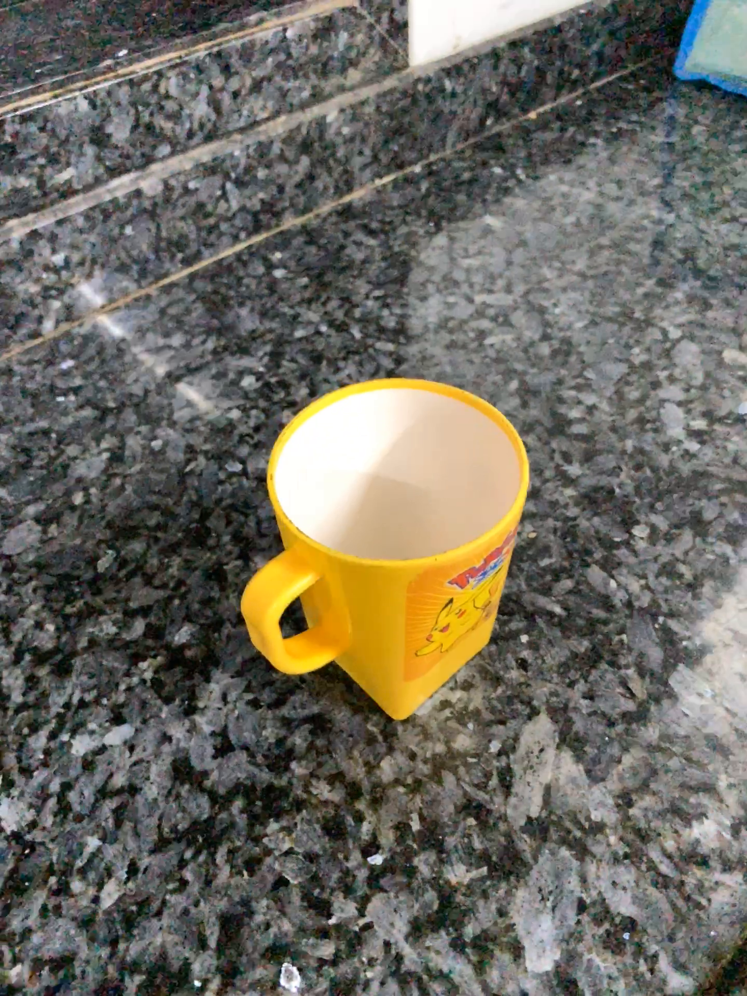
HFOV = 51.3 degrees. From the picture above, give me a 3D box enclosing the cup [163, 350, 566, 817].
[{"bbox_3d":[0.001,0.030,0.272,0.070,0.109,0.100,35,58,29],"label":"cup"}]
